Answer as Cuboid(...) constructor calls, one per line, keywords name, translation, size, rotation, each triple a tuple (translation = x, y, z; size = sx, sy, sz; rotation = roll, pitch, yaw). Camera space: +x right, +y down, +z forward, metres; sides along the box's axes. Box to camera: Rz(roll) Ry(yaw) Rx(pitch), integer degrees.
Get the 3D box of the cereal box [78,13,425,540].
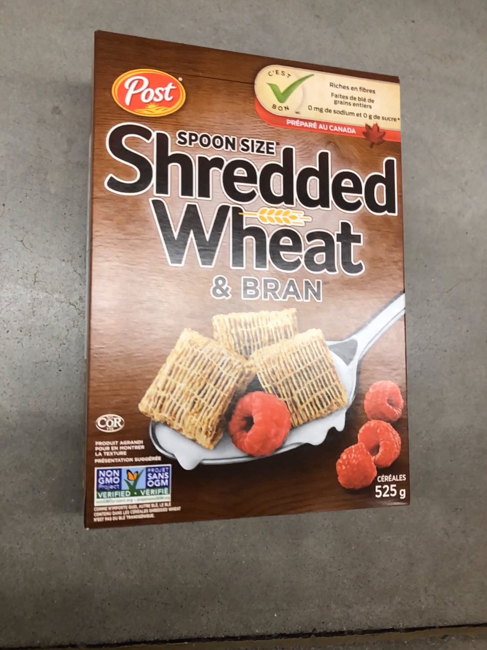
Cuboid(name="cereal box", translation=(0.004, -0.026, 0.341), size=(0.200, 0.070, 0.280), rotation=(1, 86, -15))
